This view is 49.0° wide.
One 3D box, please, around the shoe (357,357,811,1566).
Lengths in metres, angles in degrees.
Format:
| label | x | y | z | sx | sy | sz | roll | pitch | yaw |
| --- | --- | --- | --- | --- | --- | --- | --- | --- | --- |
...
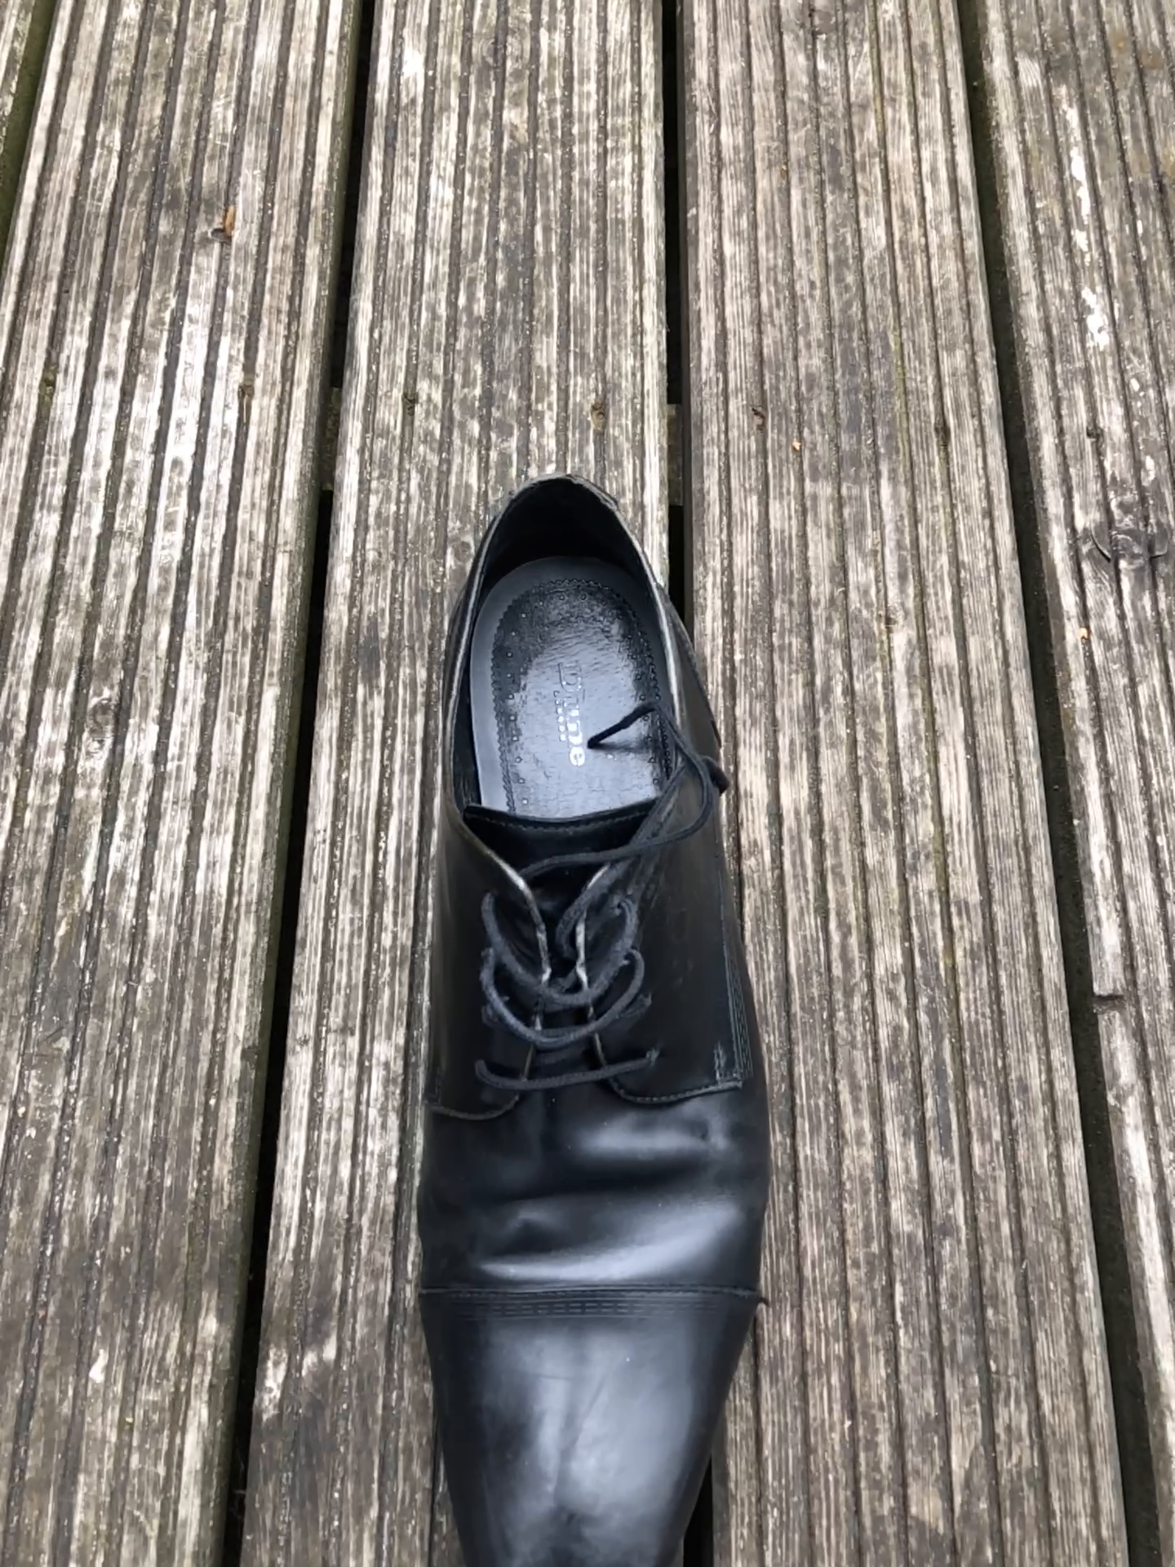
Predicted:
| label | x | y | z | sx | sy | sz | roll | pitch | yaw |
| --- | --- | --- | --- | --- | --- | --- | --- | --- | --- |
| shoe | -0.008 | 0.064 | 0.382 | 0.090 | 0.150 | 0.341 | 0 | 71 | -3 |
